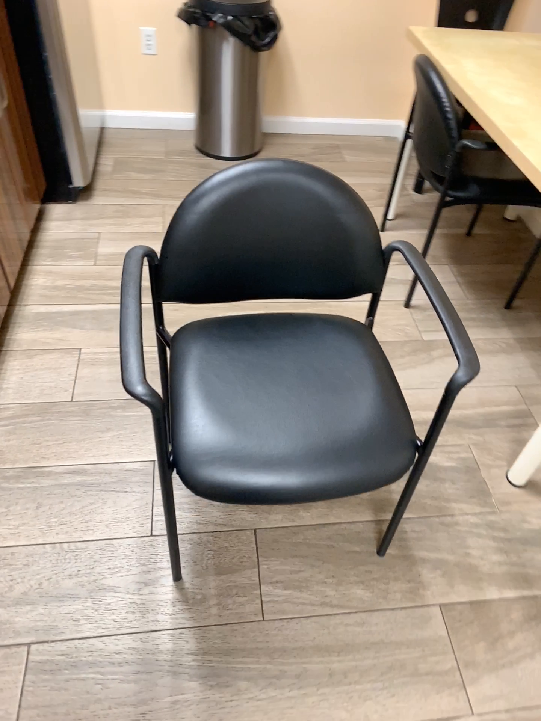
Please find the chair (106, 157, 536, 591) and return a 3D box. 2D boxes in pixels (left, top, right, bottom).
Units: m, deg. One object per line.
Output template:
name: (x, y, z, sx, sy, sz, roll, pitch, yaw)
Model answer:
chair: (0.013, 0.042, 1.166, 0.590, 0.736, 0.522, -4, 46, -10)
